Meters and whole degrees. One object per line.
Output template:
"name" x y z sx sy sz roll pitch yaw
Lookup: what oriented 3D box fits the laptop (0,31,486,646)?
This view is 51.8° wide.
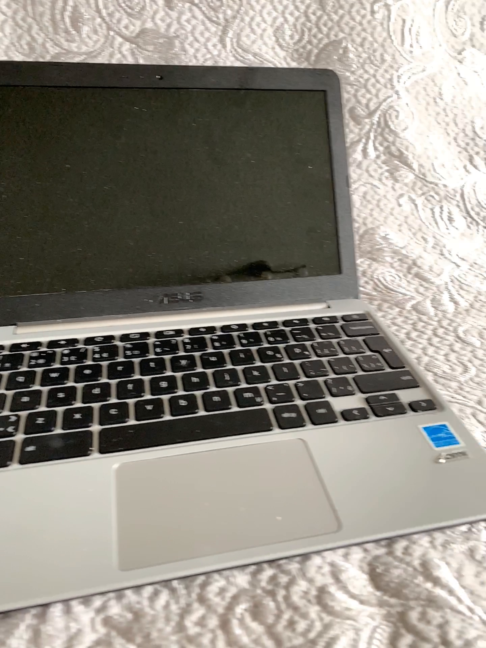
"laptop" -0.037 -0.043 0.288 0.288 0.127 0.288 -4 41 -19
